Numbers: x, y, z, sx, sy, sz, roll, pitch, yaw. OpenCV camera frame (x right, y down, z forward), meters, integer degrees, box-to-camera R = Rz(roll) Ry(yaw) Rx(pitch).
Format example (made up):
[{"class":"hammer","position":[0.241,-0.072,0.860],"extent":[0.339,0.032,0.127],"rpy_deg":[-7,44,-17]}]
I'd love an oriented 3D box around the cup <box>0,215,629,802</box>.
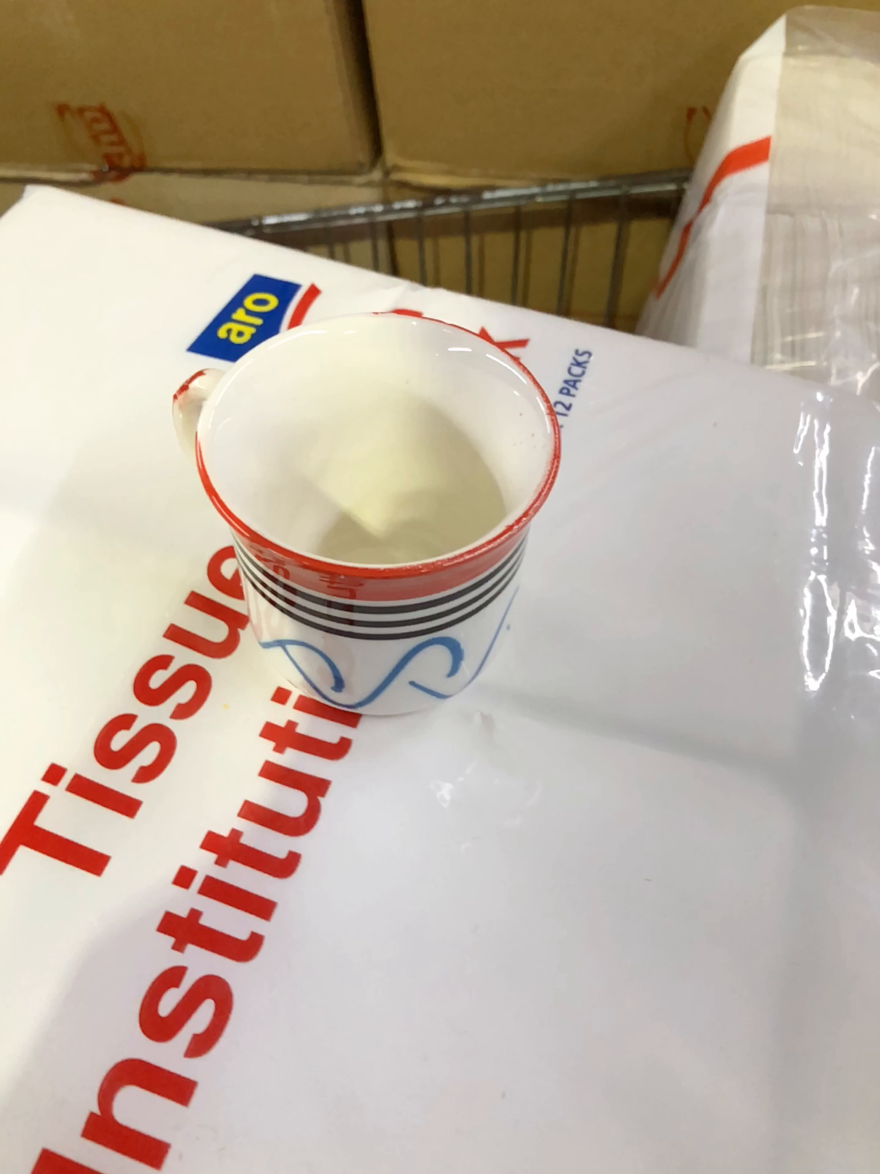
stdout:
[{"class":"cup","position":[-0.022,-0.018,0.202],"extent":[0.090,0.060,0.070],"rpy_deg":[25,59,17]}]
